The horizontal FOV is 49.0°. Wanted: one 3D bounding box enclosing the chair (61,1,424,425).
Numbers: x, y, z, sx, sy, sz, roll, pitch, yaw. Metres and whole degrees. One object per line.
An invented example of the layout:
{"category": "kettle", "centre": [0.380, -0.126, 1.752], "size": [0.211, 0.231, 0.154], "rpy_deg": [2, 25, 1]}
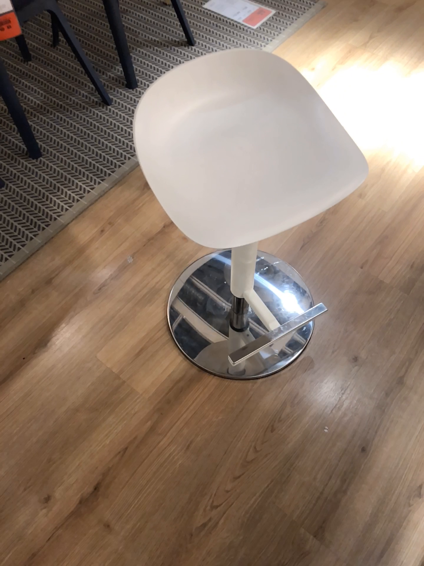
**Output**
{"category": "chair", "centre": [0.063, -0.096, 1.030], "size": [0.440, 0.699, 0.451], "rpy_deg": [-30, 62, -17]}
